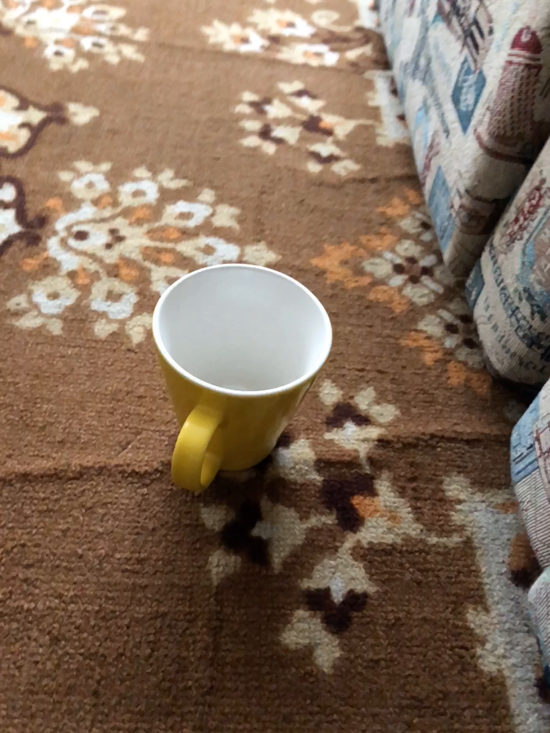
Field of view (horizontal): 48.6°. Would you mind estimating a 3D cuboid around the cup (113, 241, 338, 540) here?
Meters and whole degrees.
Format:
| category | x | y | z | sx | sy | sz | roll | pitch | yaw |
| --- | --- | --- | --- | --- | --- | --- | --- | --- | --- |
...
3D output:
| category | x | y | z | sx | sy | sz | roll | pitch | yaw |
| --- | --- | --- | --- | --- | --- | --- | --- | --- | --- |
| cup | -0.023 | 0.012 | 0.337 | 0.097 | 0.088 | 0.125 | 9 | 49 | -4 |
